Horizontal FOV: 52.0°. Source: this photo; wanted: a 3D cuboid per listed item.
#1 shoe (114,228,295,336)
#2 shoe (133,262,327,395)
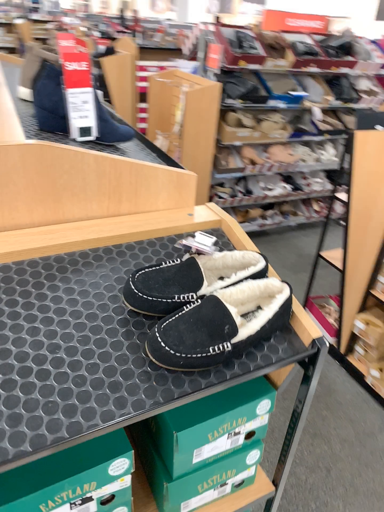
[{"bbox_3d":[0.017,0.035,0.606,0.250,0.089,0.087,-10,54,-23],"label":"shoe"},{"bbox_3d":[0.055,0.095,0.560,0.251,0.089,0.087,-13,55,-27],"label":"shoe"}]
